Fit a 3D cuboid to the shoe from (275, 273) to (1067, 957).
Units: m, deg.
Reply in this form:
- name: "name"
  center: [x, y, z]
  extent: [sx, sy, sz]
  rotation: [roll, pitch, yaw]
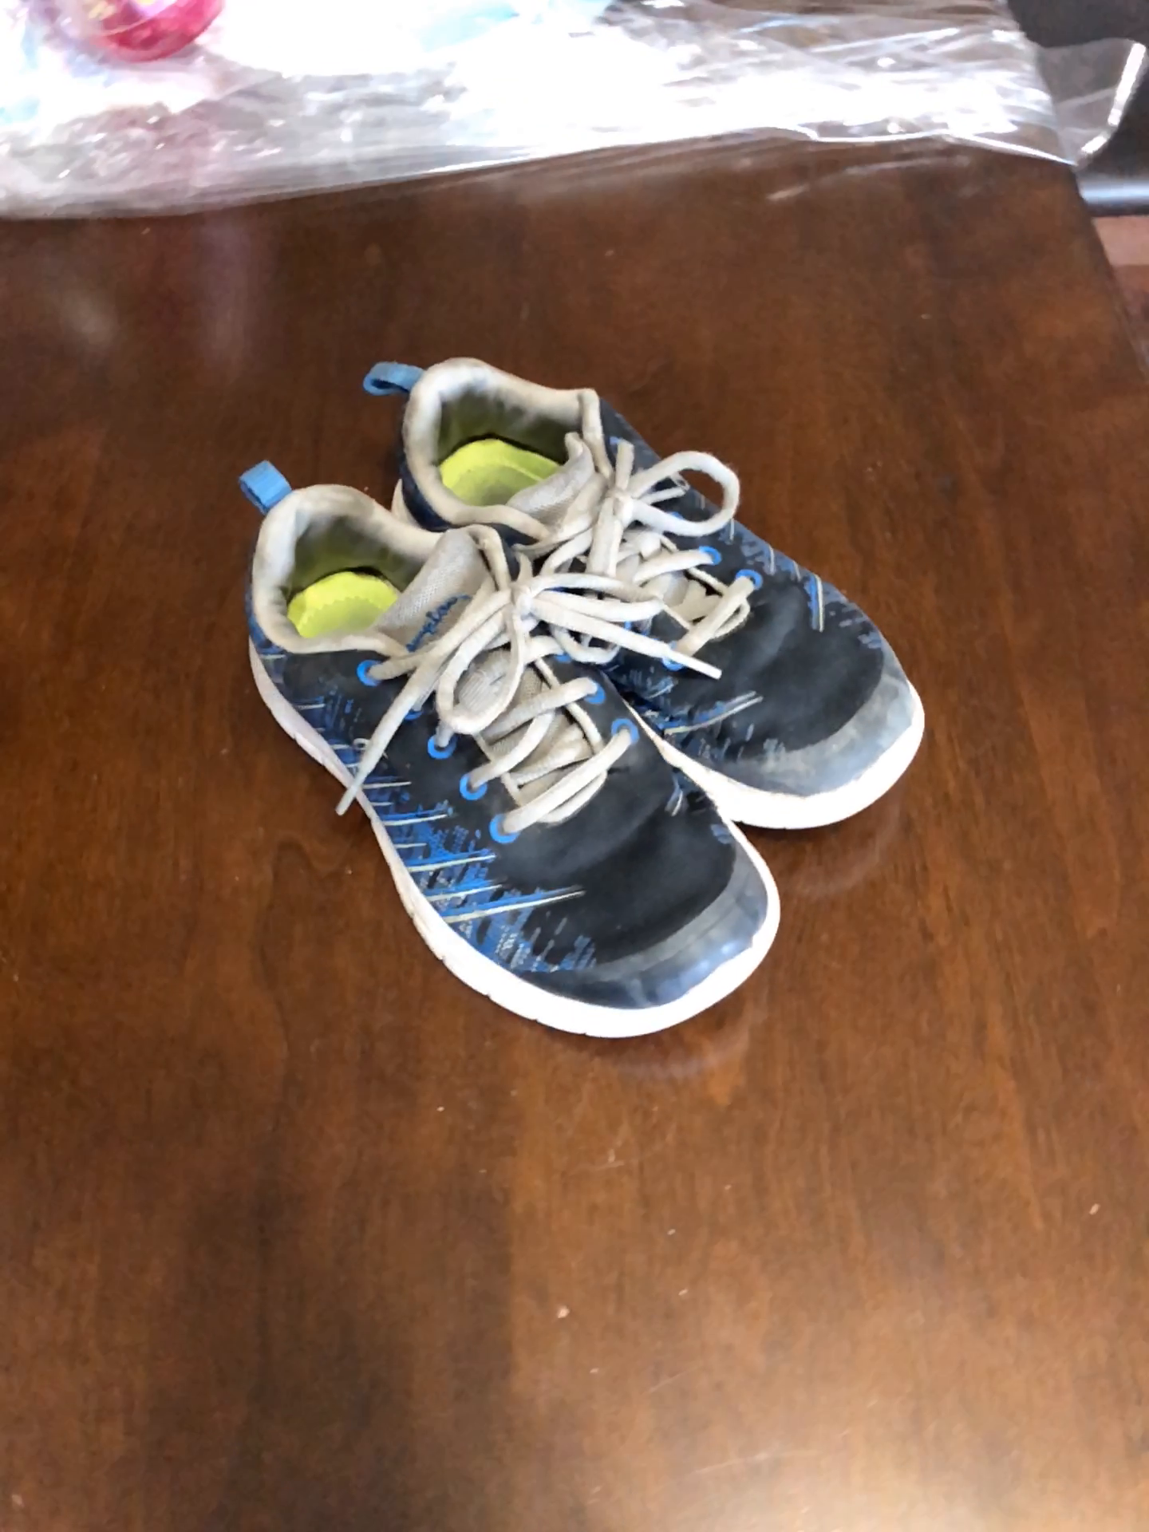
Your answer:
- name: "shoe"
  center: [0.024, -0.058, 0.428]
  extent: [0.230, 0.090, 0.100]
  rotation: [35, 66, 24]

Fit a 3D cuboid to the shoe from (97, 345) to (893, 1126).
- name: "shoe"
  center: [-0.029, -0.018, 0.388]
  extent: [0.100, 0.090, 0.220]
  rotation: [-39, 62, -19]
